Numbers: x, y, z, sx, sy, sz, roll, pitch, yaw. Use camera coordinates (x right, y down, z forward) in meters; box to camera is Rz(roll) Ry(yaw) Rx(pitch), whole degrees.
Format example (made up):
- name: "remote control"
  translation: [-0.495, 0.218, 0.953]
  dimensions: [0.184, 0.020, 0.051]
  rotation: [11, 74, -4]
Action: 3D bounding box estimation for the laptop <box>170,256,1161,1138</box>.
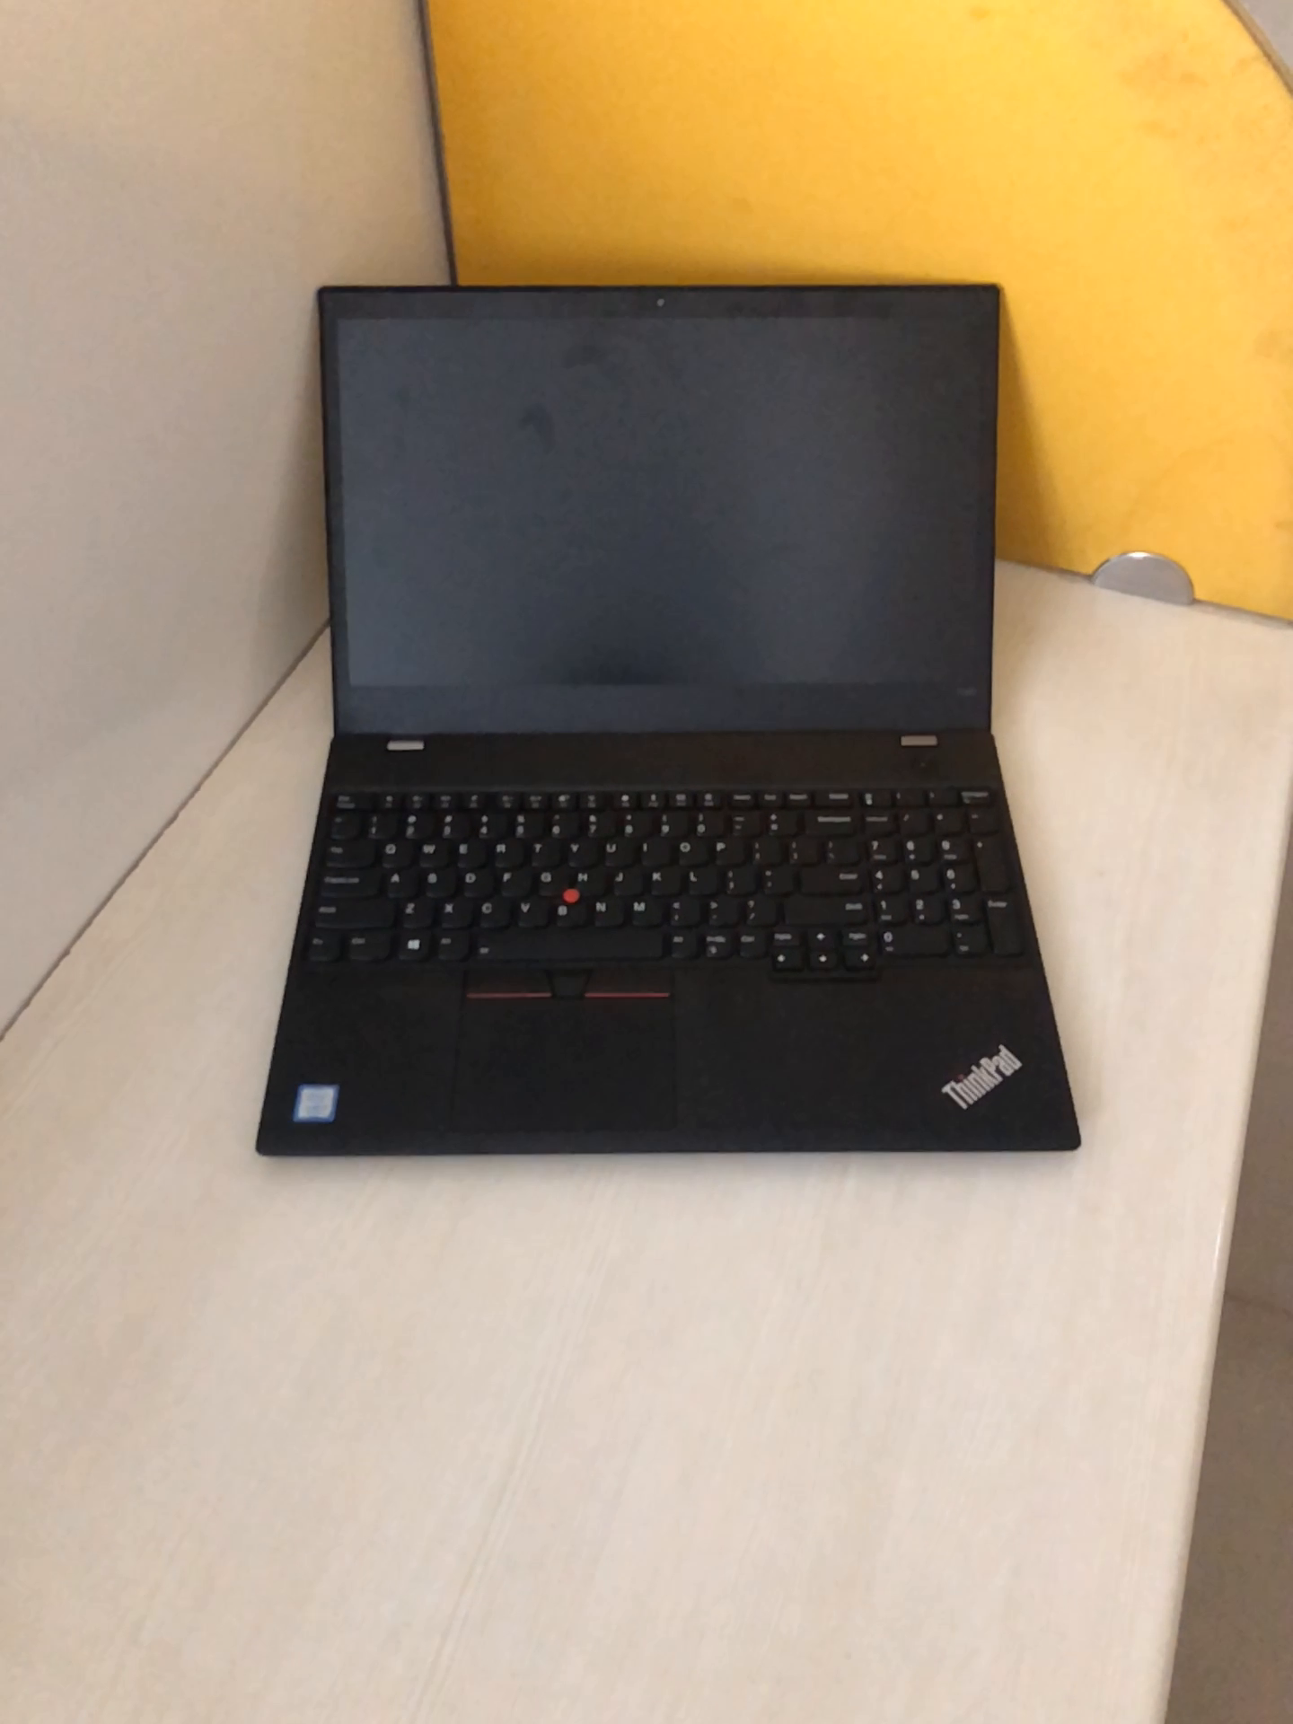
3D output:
- name: "laptop"
  translation: [0.005, -0.099, 0.680]
  dimensions: [0.344, 0.150, 0.422]
  rotation: [0, 53, -1]
